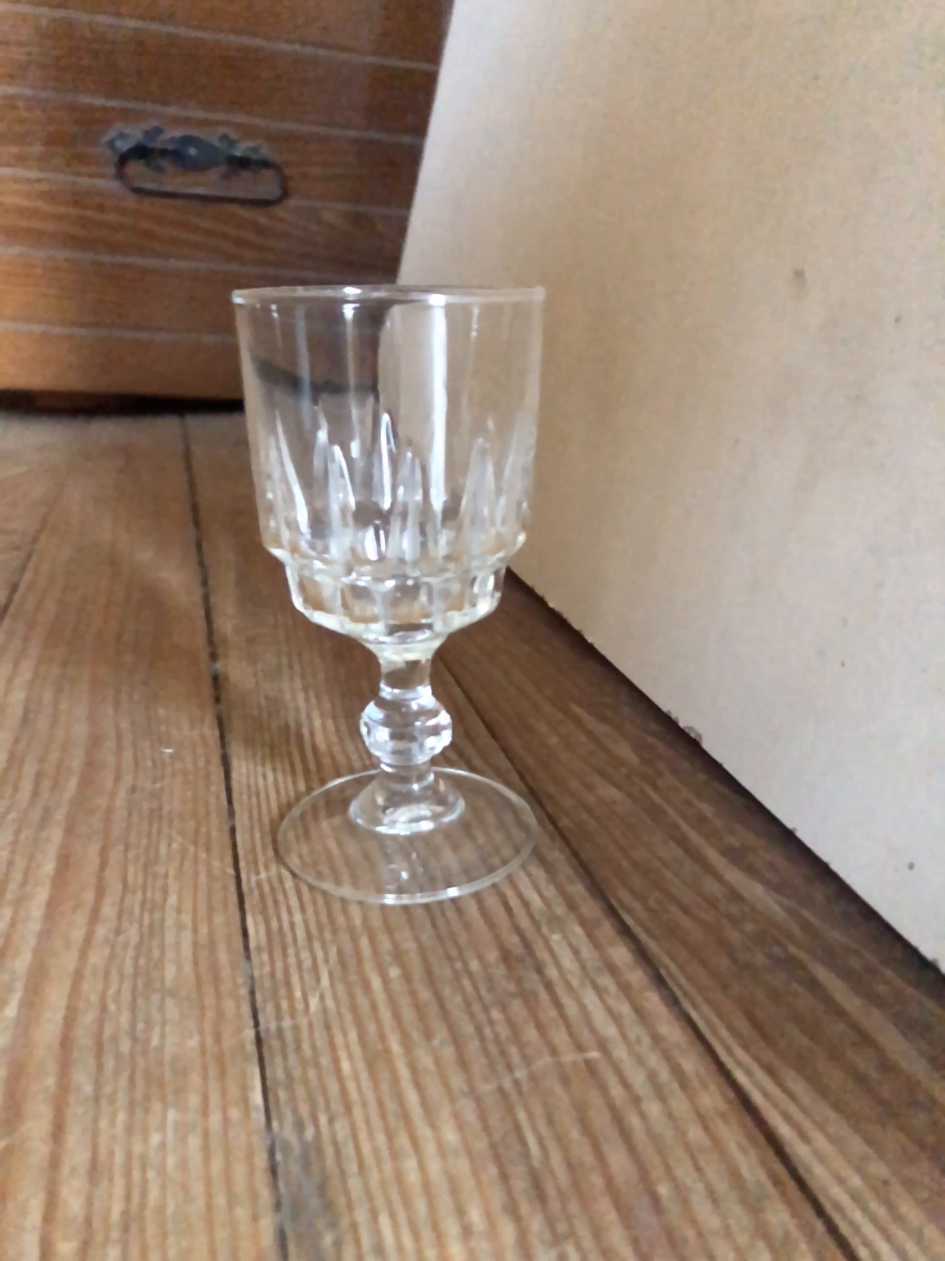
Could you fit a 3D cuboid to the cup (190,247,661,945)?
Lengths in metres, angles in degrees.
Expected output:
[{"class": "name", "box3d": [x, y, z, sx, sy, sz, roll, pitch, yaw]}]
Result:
[{"class": "cup", "box3d": [-0.013, -0.014, 0.214, 0.070, 0.119, 0.070, -1, 20, 0]}]
